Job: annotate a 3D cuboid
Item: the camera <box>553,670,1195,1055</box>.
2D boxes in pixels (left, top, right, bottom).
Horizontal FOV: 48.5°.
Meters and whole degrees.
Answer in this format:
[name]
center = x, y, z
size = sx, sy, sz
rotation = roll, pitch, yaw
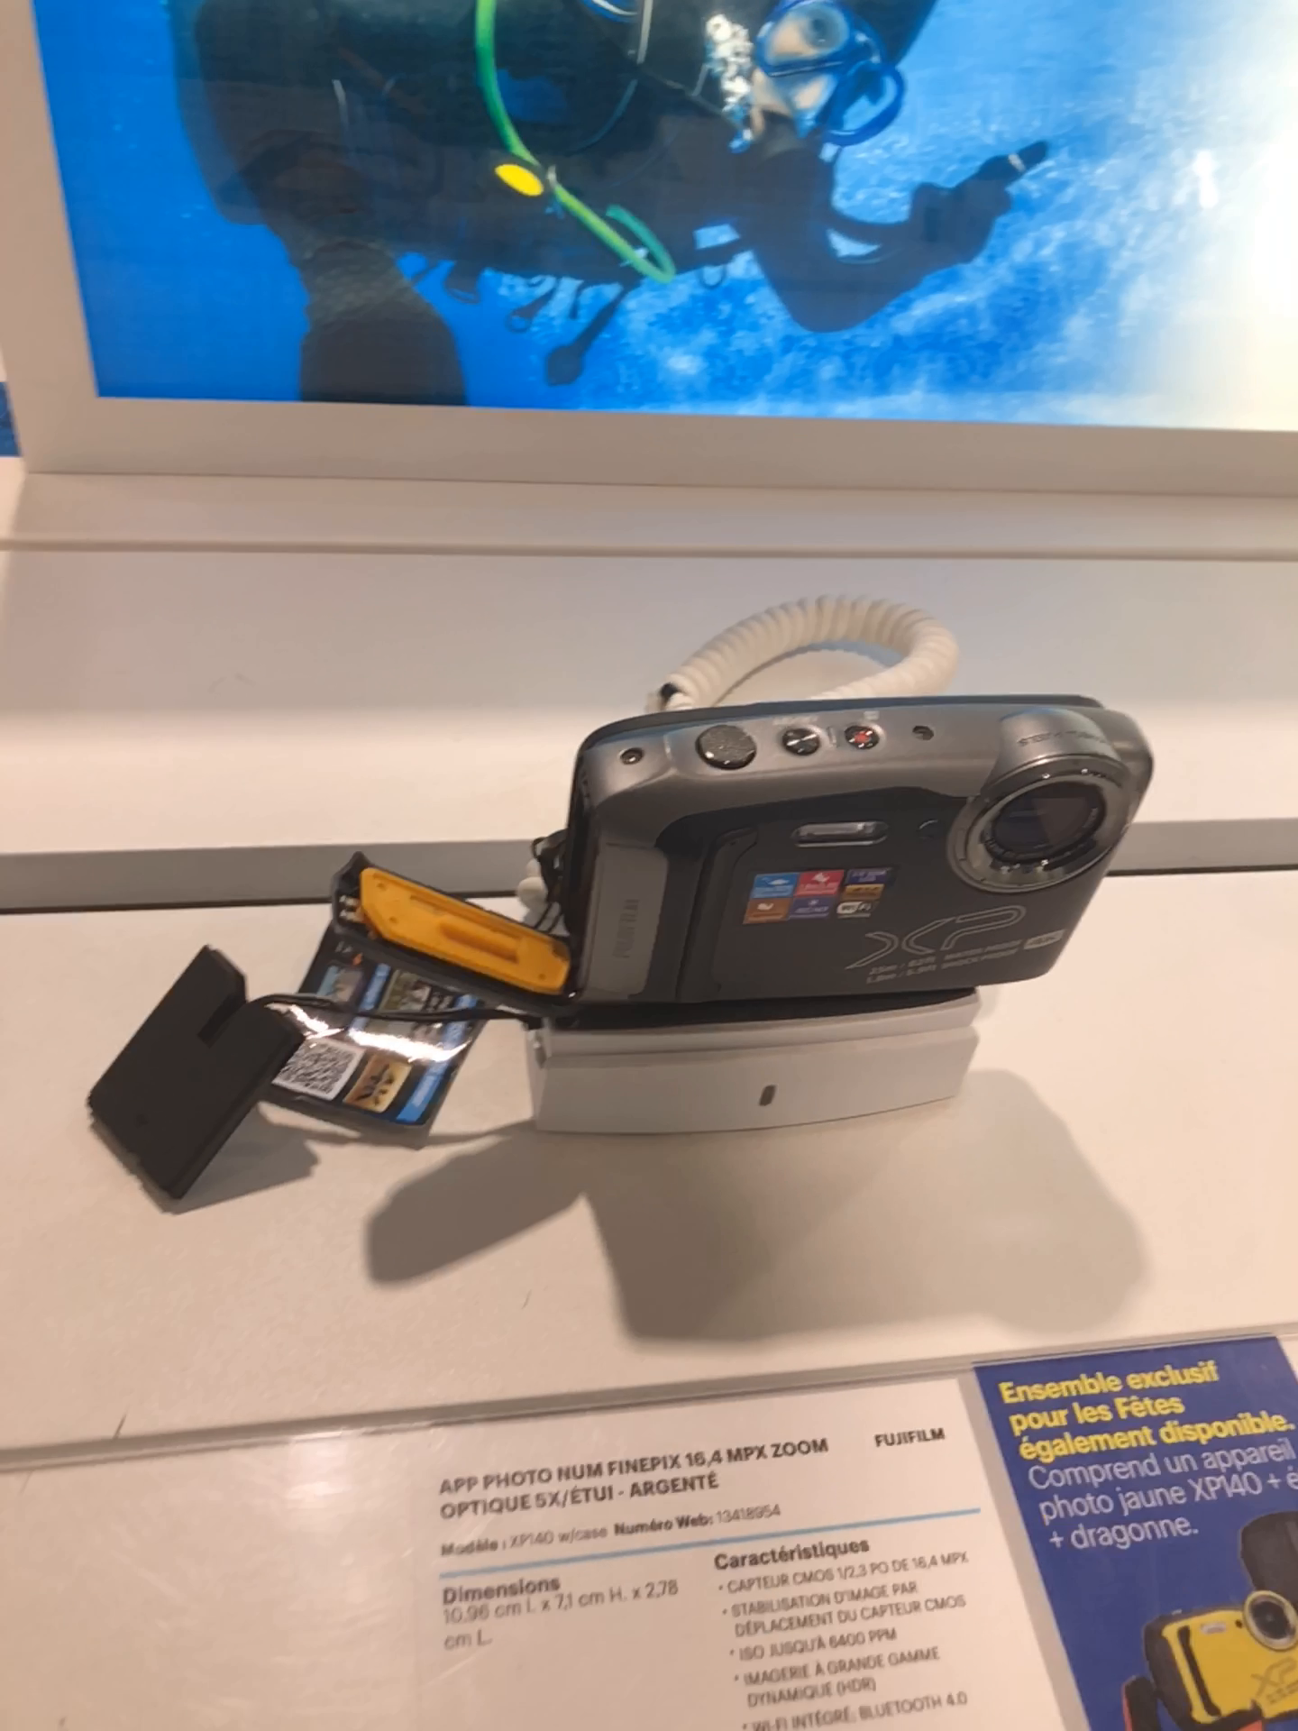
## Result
[camera]
center = 0.038, 0.000, 0.271
size = 0.106, 0.069, 0.023
rotation = -4, 44, -12
